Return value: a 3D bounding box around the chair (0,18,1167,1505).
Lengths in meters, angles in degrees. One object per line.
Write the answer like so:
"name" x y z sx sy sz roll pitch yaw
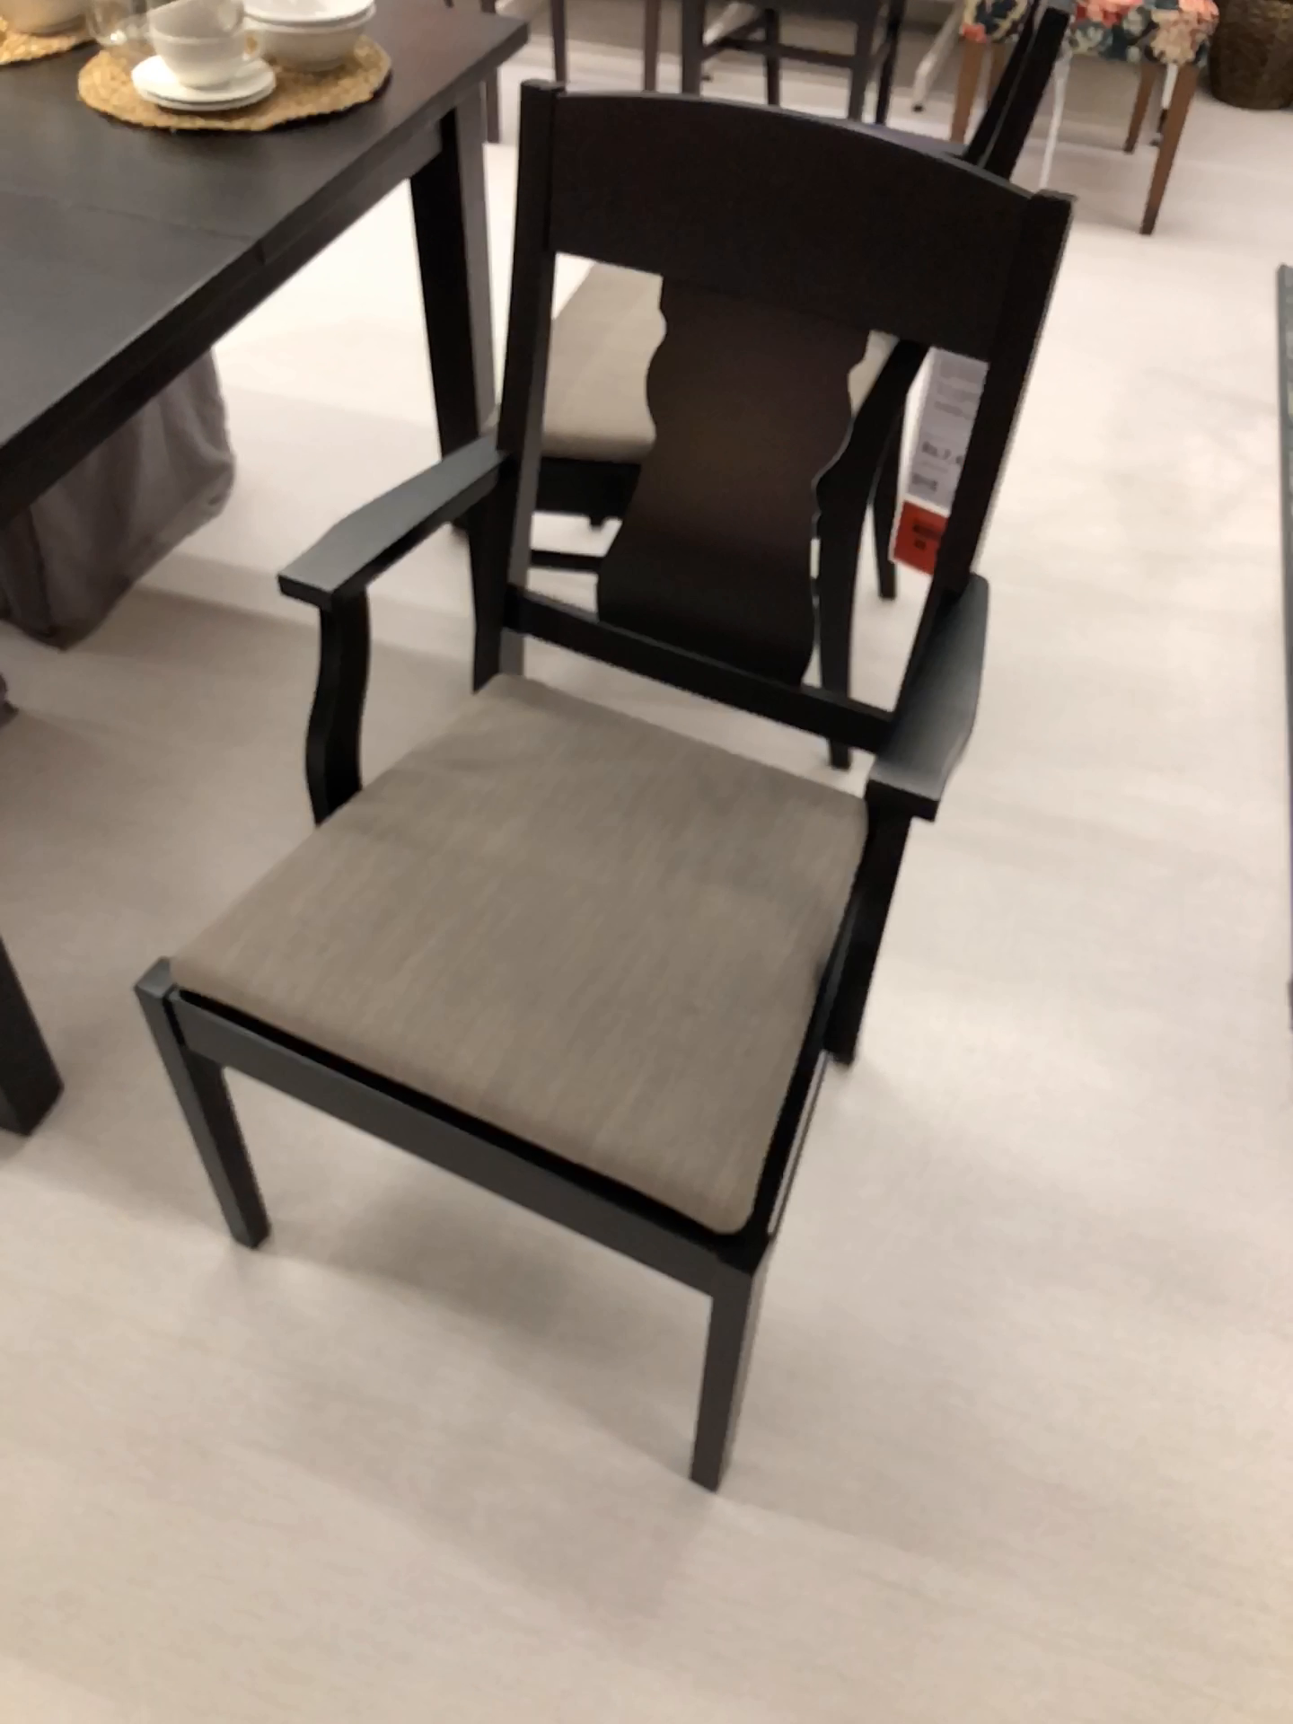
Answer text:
"chair" -0.049 -0.031 1.212 0.571 0.994 0.573 20 50 16
